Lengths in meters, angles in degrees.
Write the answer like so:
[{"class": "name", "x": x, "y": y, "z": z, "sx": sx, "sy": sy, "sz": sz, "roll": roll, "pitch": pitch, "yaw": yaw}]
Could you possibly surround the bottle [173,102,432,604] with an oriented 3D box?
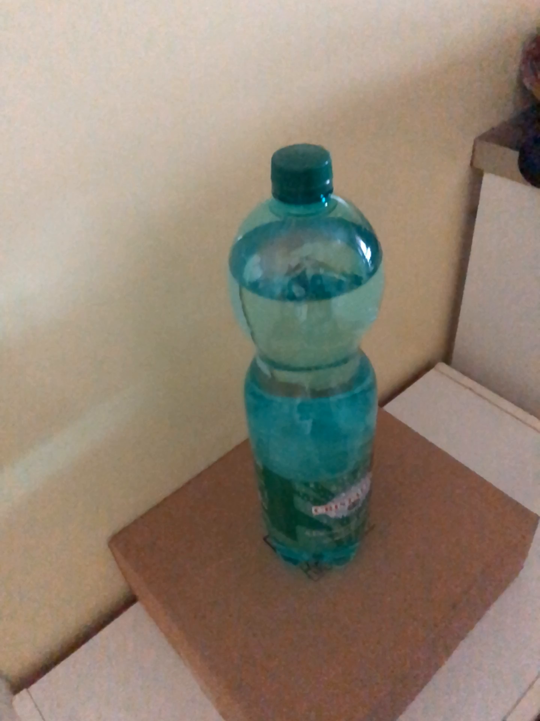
[{"class": "bottle", "x": 0.027, "y": 0.026, "z": 0.392, "sx": 0.090, "sy": 0.338, "sz": 0.080, "roll": -29, "pitch": 47, "yaw": -22}]
